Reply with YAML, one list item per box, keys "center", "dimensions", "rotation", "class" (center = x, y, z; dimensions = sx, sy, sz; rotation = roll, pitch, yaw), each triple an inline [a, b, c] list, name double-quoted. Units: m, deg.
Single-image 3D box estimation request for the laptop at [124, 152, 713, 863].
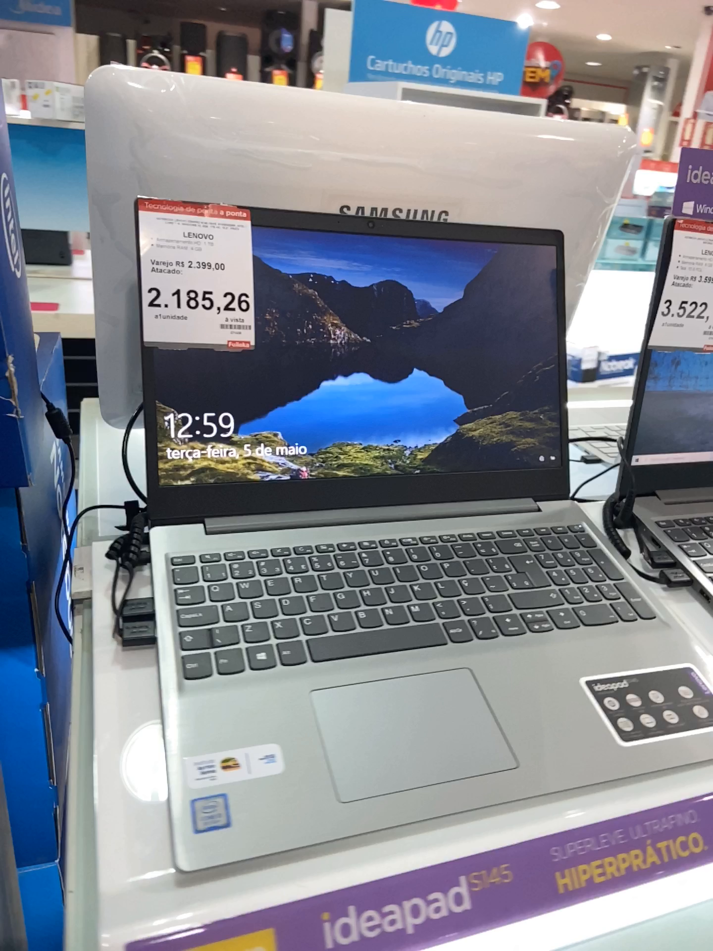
- center: [0.041, -0.040, 0.499]
  dimensions: [0.358, 0.212, 0.389]
  rotation: [-2, 33, -18]
  class: "laptop"
